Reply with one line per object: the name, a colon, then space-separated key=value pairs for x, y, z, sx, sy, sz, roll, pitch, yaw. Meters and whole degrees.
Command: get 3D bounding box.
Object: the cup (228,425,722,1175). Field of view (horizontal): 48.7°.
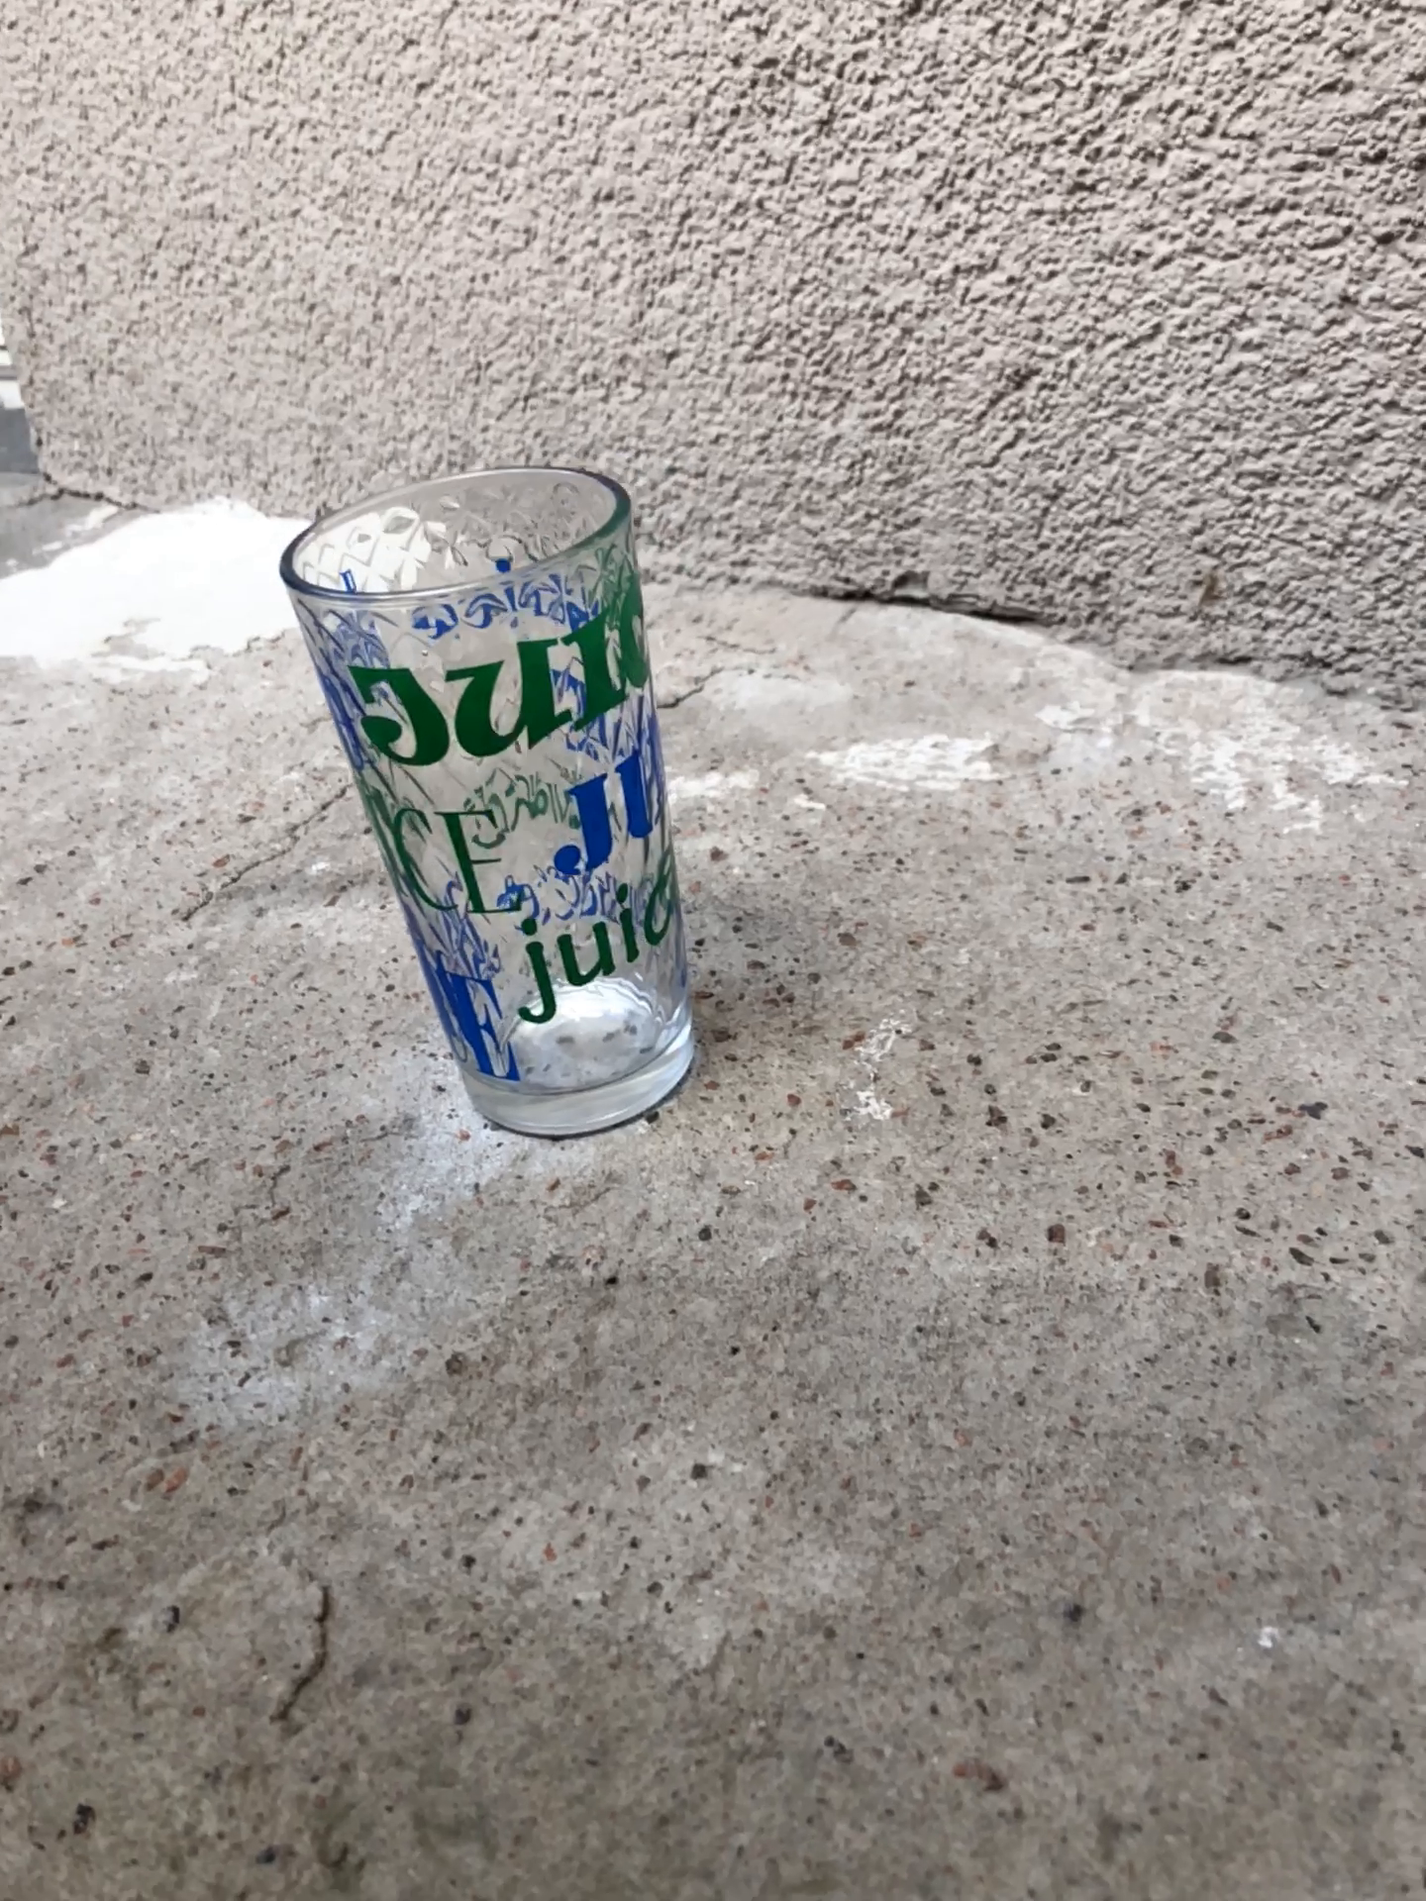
cup: x=-0.041 y=-0.028 z=0.315 sx=0.067 sy=0.125 sz=0.066 roll=-5 pitch=34 yaw=4
